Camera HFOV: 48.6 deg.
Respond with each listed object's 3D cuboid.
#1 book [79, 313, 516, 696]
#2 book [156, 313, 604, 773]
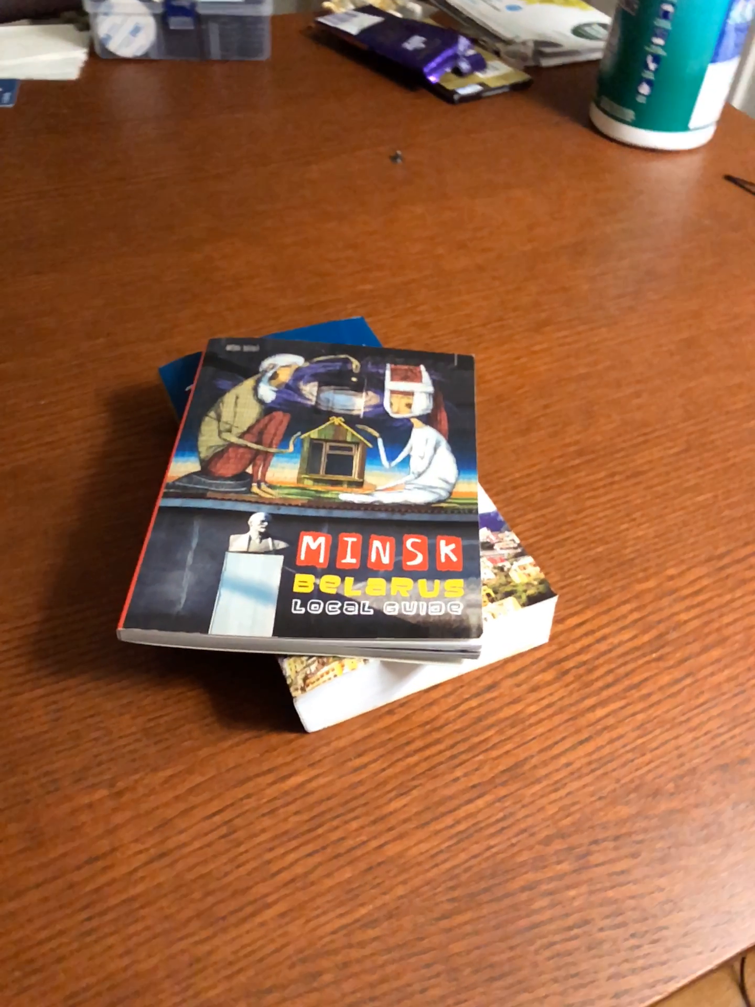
[{"bbox_3d":[-0.024,-0.012,0.359,0.150,0.020,0.191,4,48,-1],"label":"book"},{"bbox_3d":[-0.012,-0.001,0.402,0.130,0.040,0.221,-16,51,-18],"label":"book"}]
